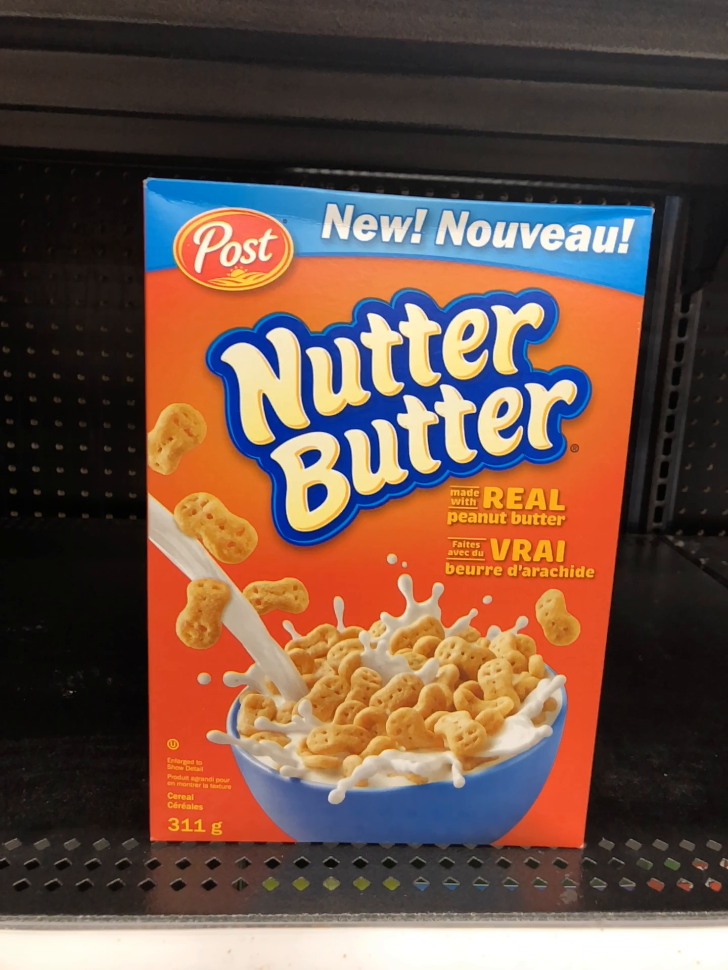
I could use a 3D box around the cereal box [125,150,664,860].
[{"bbox_3d":[0.006,0.016,0.342,0.190,0.279,0.060,2,12,-2],"label":"cereal box"}]
